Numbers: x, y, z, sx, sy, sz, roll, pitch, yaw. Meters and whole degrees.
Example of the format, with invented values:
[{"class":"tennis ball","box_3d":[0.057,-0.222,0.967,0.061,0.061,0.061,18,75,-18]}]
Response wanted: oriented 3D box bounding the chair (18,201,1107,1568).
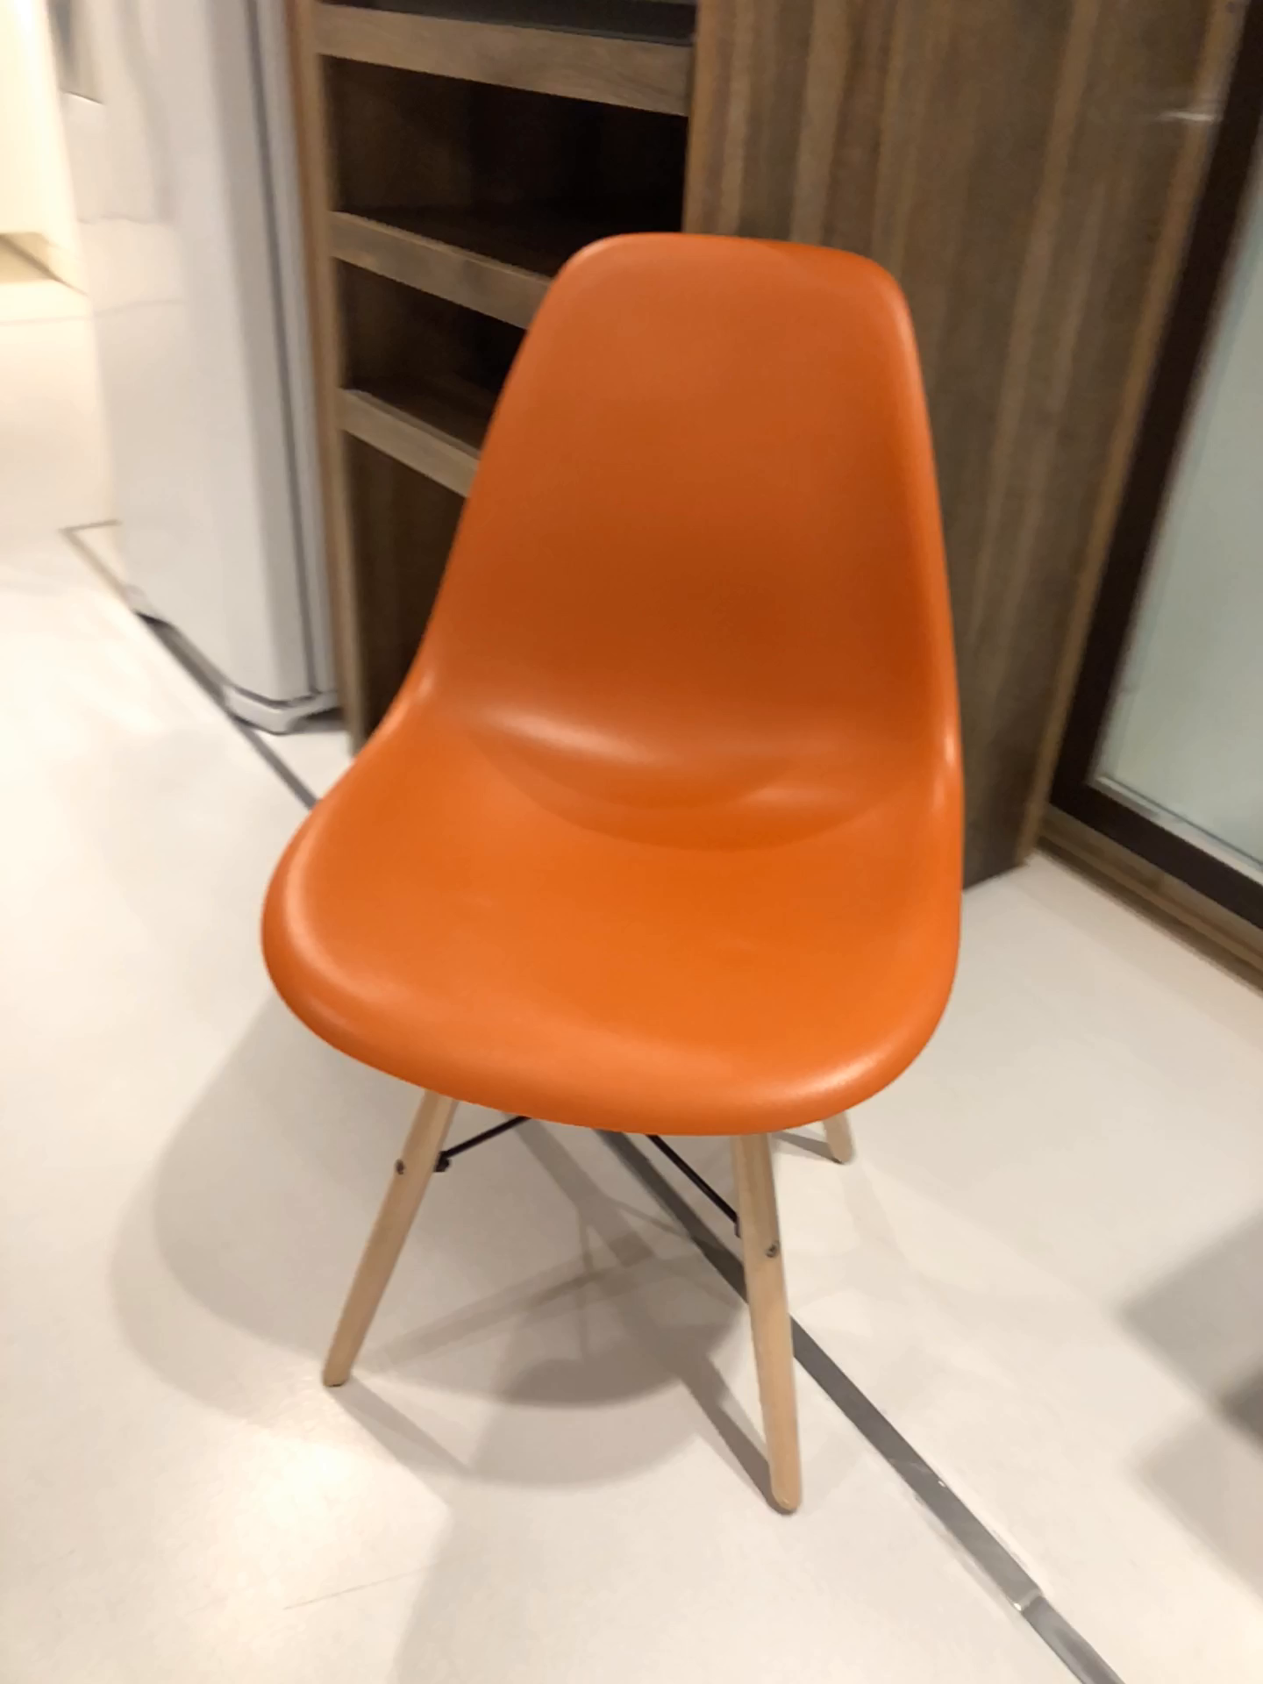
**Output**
[{"class":"chair","box_3d":[0.005,-0.009,1.038,0.490,0.744,0.584,11,33,10]}]
